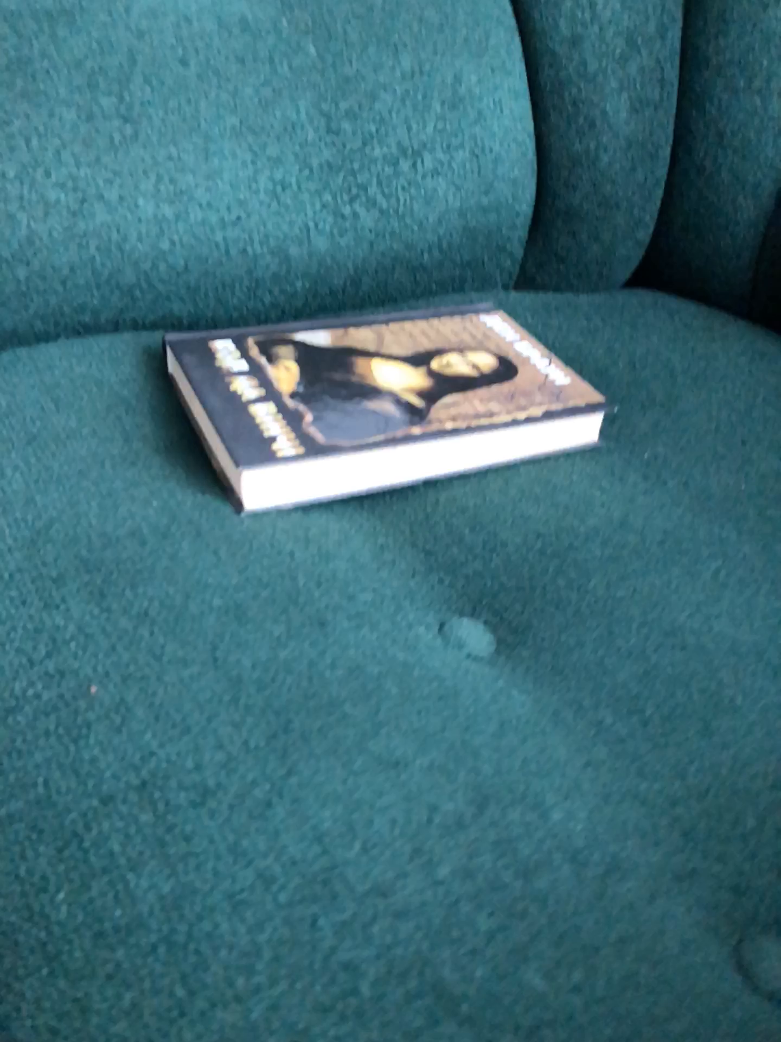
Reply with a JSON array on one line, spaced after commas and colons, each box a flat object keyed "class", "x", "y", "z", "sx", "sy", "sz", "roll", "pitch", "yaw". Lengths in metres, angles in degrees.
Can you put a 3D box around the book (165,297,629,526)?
[{"class": "book", "x": 0.001, "y": -0.070, "z": 0.460, "sx": 0.210, "sy": 0.030, "sz": 0.135, "roll": -12, "pitch": 41, "yaw": -23}]
